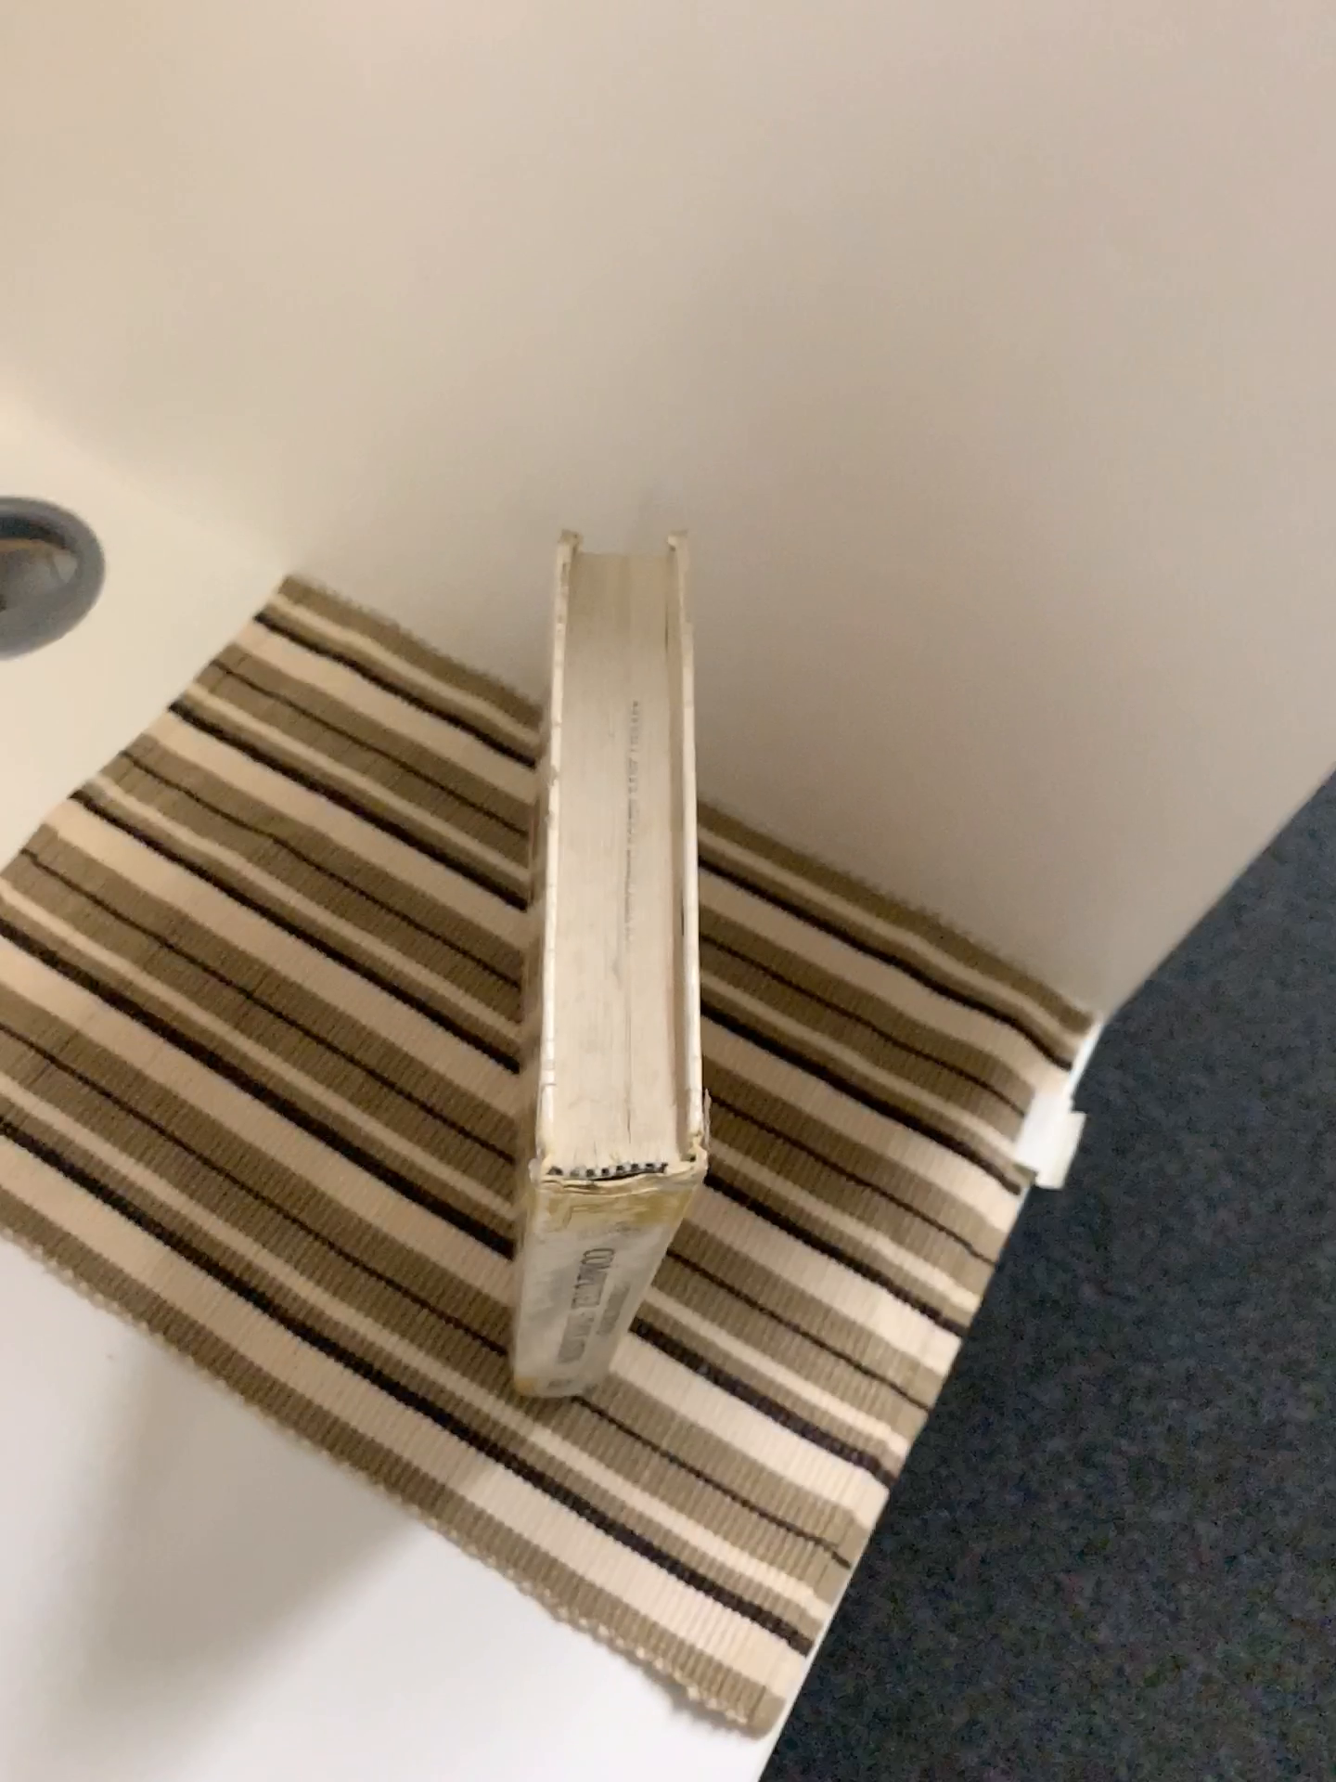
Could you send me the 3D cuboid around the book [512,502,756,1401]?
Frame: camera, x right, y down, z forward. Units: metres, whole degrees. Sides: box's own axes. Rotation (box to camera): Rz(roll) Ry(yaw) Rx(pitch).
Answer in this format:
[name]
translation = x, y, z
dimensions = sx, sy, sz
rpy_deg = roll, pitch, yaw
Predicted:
[book]
translation = -0.022, 0.037, 0.403
dimensions = 0.040, 0.239, 0.171
rpy_deg = 0, 61, -8
